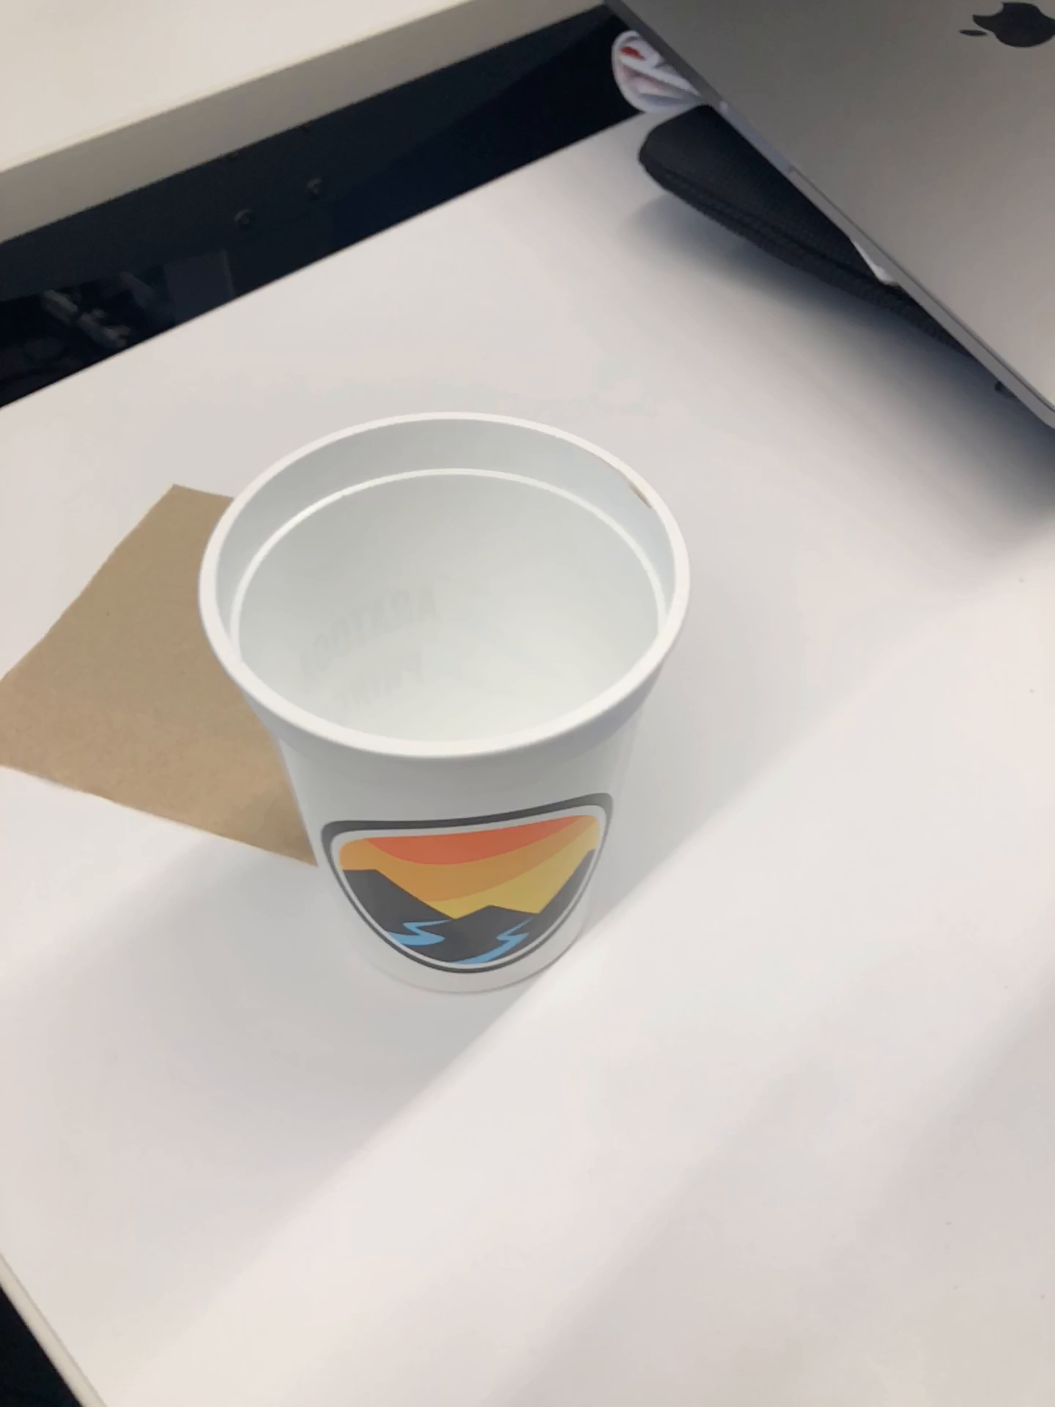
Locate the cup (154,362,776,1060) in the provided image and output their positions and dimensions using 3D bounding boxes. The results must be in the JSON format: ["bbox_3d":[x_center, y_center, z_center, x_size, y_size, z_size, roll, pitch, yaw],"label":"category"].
[{"bbox_3d":[-0.013,0.003,0.238,0.090,0.100,0.090,0,48,0],"label":"cup"}]
